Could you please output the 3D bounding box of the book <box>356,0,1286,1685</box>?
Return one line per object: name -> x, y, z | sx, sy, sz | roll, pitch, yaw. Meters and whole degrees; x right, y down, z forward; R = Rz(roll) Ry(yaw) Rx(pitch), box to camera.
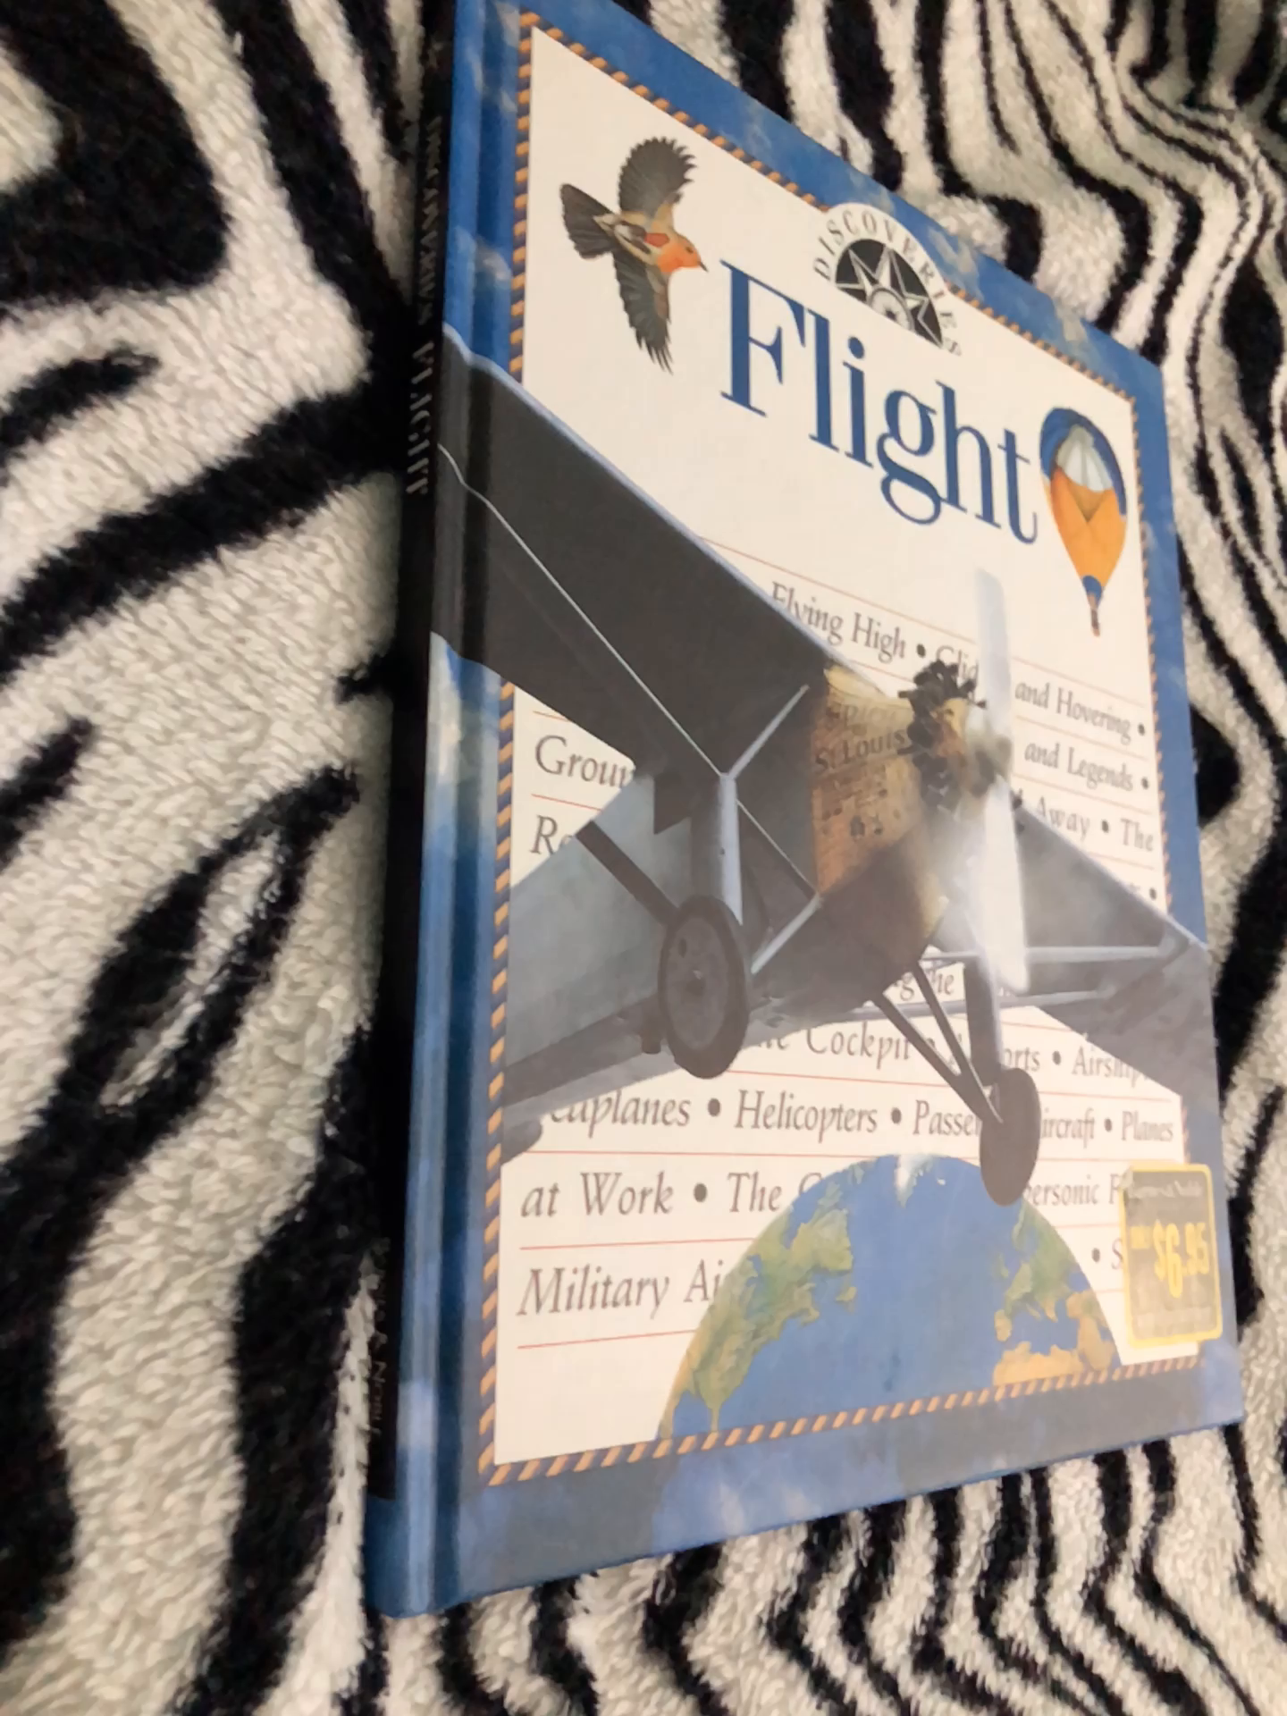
book -> 0.062, -0.015, 0.319 | 0.260, 0.020, 0.300 | 11, 74, -41
